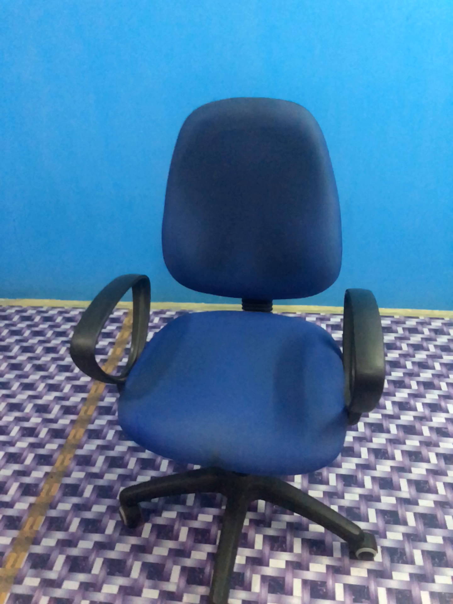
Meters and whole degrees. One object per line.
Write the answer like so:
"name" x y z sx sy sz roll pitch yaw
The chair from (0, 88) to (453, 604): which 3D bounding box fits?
"chair" 0.027 0.117 0.984 0.700 0.875 0.674 2 34 7
